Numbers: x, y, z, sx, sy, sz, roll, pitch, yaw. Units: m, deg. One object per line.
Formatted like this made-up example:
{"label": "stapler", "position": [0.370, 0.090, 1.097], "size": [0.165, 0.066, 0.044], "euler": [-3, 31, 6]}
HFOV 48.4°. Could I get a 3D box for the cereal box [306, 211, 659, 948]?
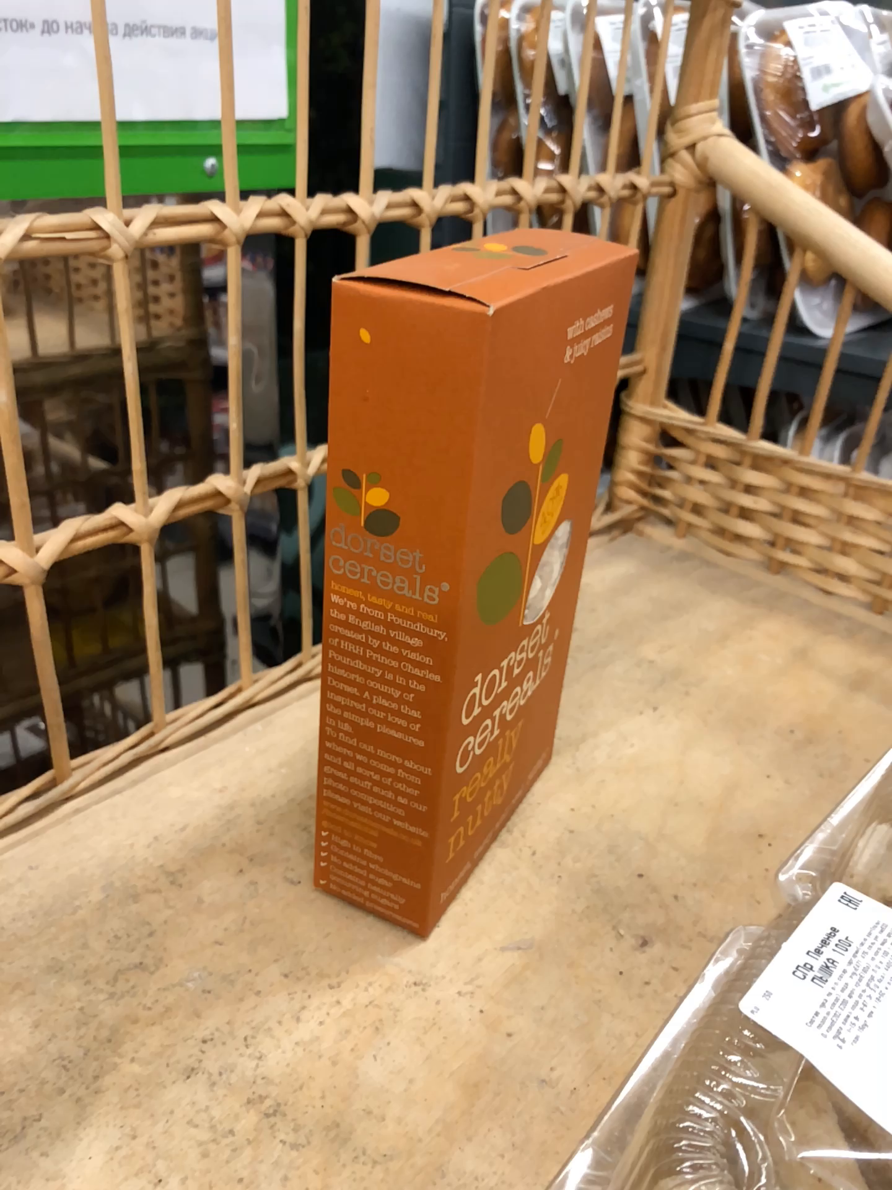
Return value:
{"label": "cereal box", "position": [0.011, -0.010, 0.335], "size": [0.050, 0.209, 0.131], "euler": [17, 30, 21]}
